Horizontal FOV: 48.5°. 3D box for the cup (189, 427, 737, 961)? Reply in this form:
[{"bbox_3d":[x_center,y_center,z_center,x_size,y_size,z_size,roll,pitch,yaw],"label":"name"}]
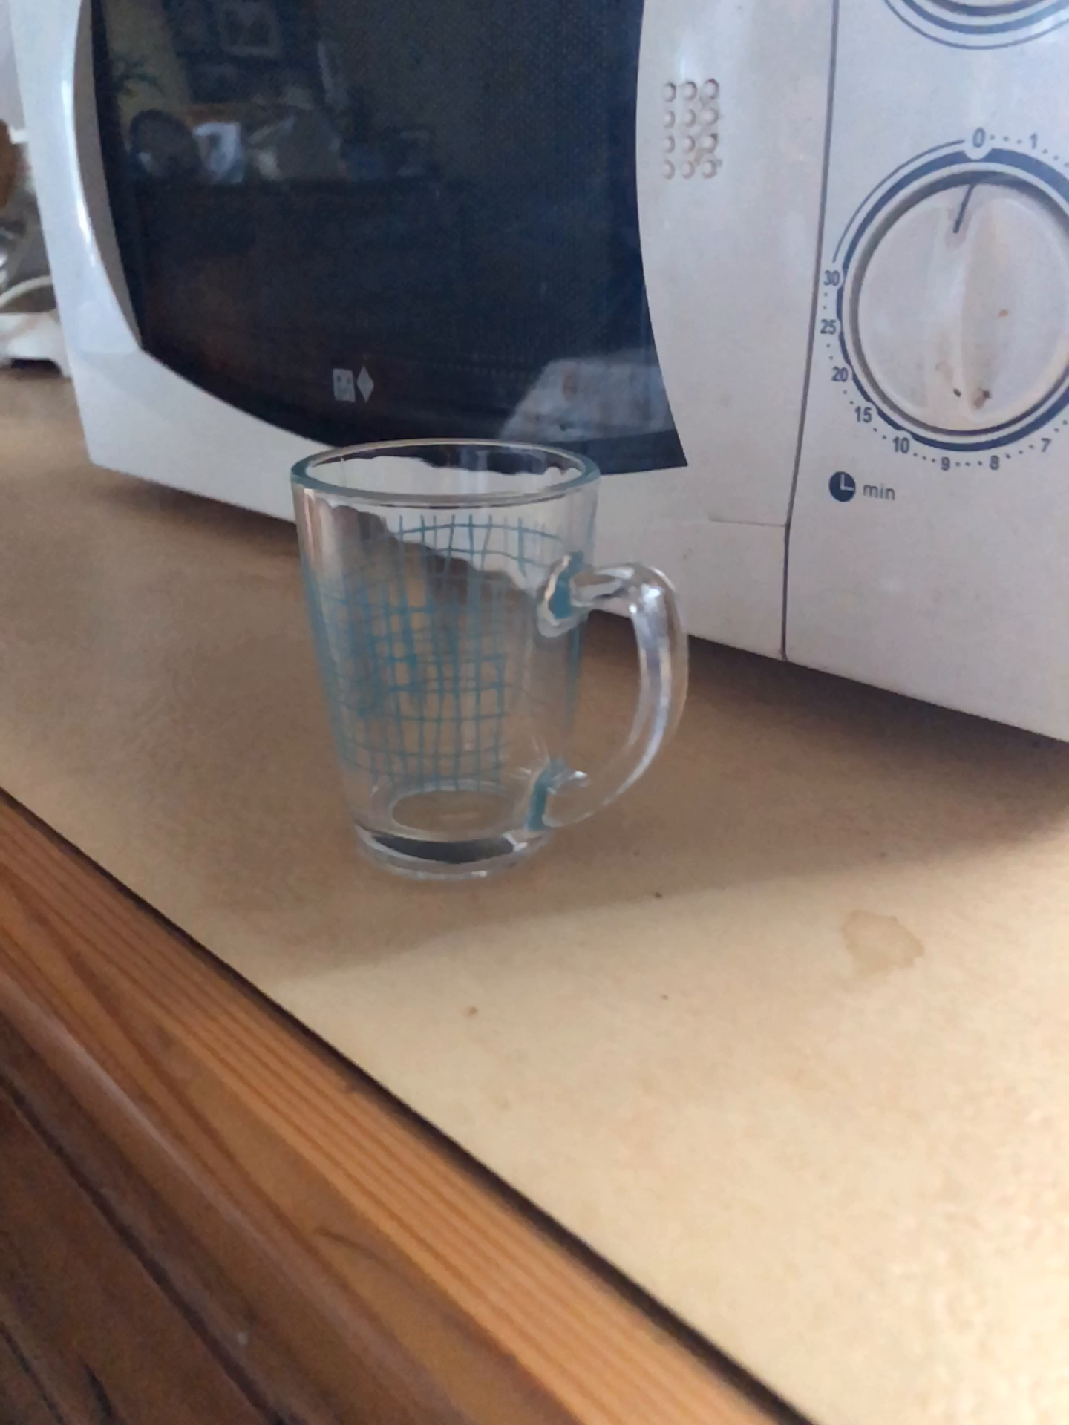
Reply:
[{"bbox_3d":[-0.014,-0.011,0.227,0.080,0.070,0.060,20,30,40],"label":"cup"}]
